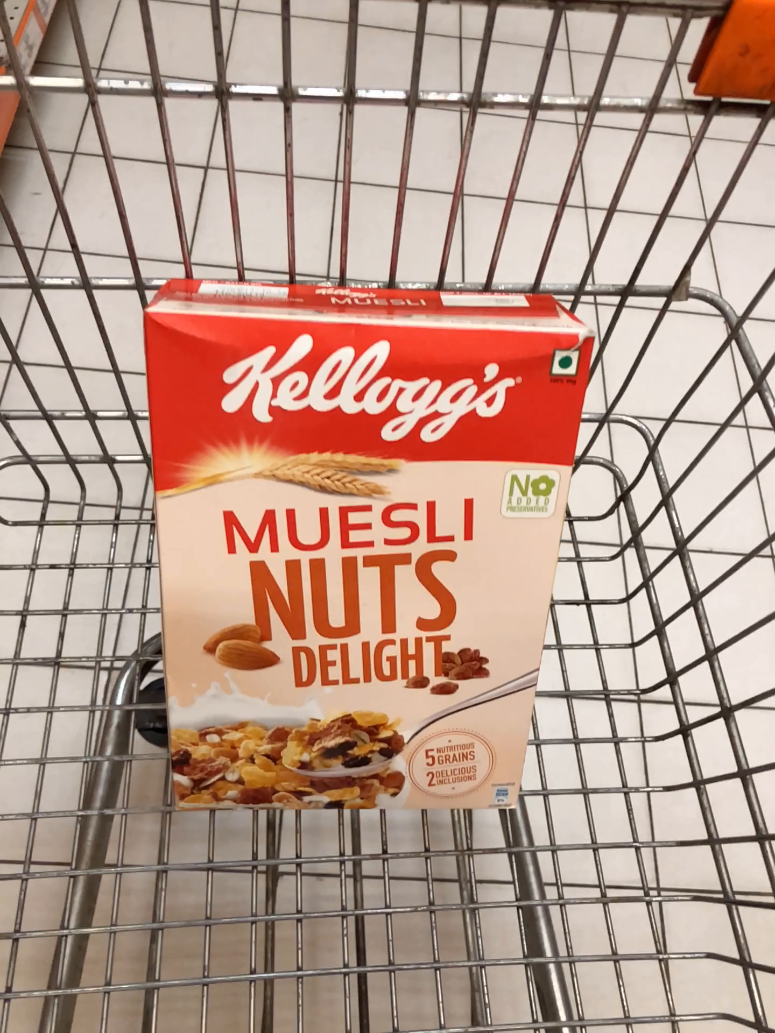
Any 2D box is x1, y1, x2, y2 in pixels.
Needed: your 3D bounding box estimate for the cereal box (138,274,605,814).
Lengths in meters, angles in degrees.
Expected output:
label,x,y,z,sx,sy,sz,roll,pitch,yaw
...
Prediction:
label,x,y,z,sx,sy,sz,roll,pitch,yaw
cereal box,-0.014,0.022,0.413,0.180,0.249,0.070,2,24,-5
